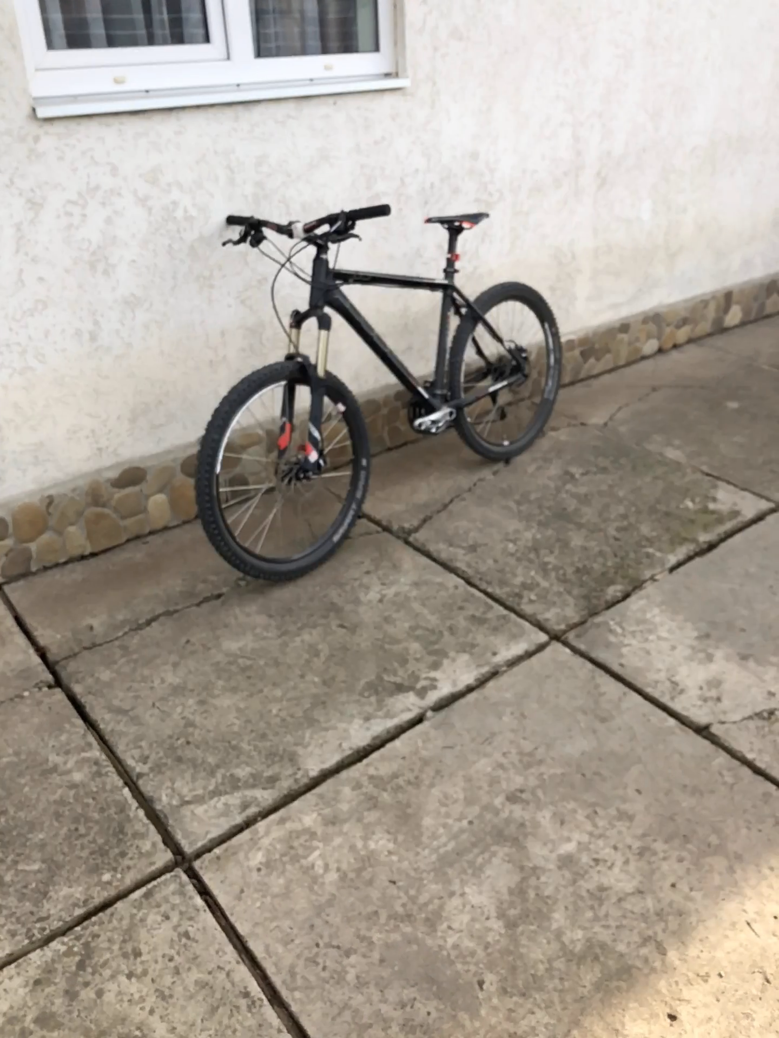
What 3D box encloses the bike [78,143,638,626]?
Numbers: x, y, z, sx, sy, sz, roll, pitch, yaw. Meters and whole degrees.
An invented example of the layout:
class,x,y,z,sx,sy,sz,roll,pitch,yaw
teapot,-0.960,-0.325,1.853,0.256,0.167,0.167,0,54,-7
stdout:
class,x,y,z,sx,sy,sz,roll,pitch,yaw
bike,0.019,-0.603,2.967,0.687,1.090,1.780,26,39,38
